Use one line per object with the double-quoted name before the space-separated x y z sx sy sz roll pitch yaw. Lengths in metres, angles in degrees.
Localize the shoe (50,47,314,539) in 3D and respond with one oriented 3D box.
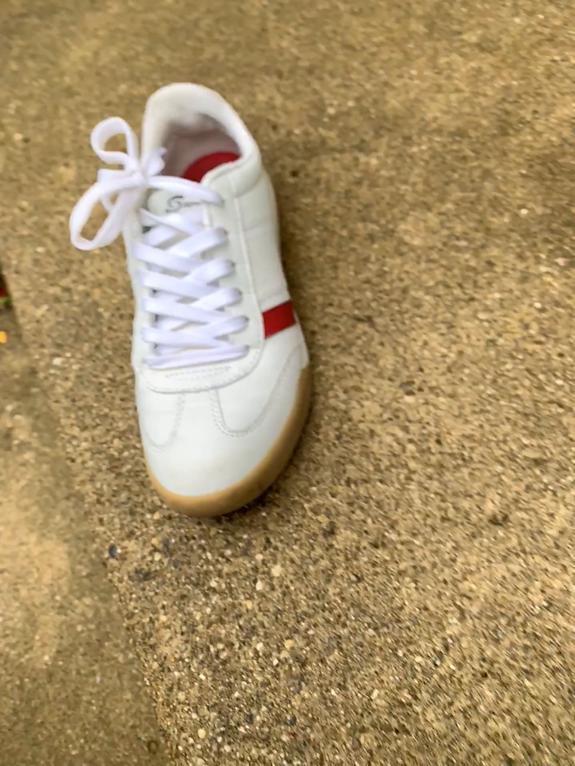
"shoe" -0.043 -0.058 0.348 0.098 0.092 0.270 -6 62 11
